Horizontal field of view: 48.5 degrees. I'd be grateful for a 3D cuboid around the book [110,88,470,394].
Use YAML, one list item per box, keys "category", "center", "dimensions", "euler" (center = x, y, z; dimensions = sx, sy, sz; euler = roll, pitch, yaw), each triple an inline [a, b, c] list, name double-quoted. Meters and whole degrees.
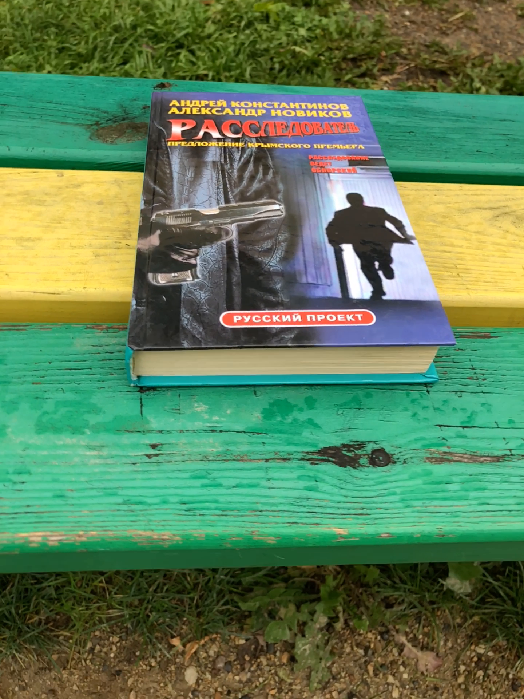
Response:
- category: "book"
  center: [0.004, -0.069, 0.298]
  dimensions: [0.138, 0.031, 0.202]
  euler: [0, 49, -6]
